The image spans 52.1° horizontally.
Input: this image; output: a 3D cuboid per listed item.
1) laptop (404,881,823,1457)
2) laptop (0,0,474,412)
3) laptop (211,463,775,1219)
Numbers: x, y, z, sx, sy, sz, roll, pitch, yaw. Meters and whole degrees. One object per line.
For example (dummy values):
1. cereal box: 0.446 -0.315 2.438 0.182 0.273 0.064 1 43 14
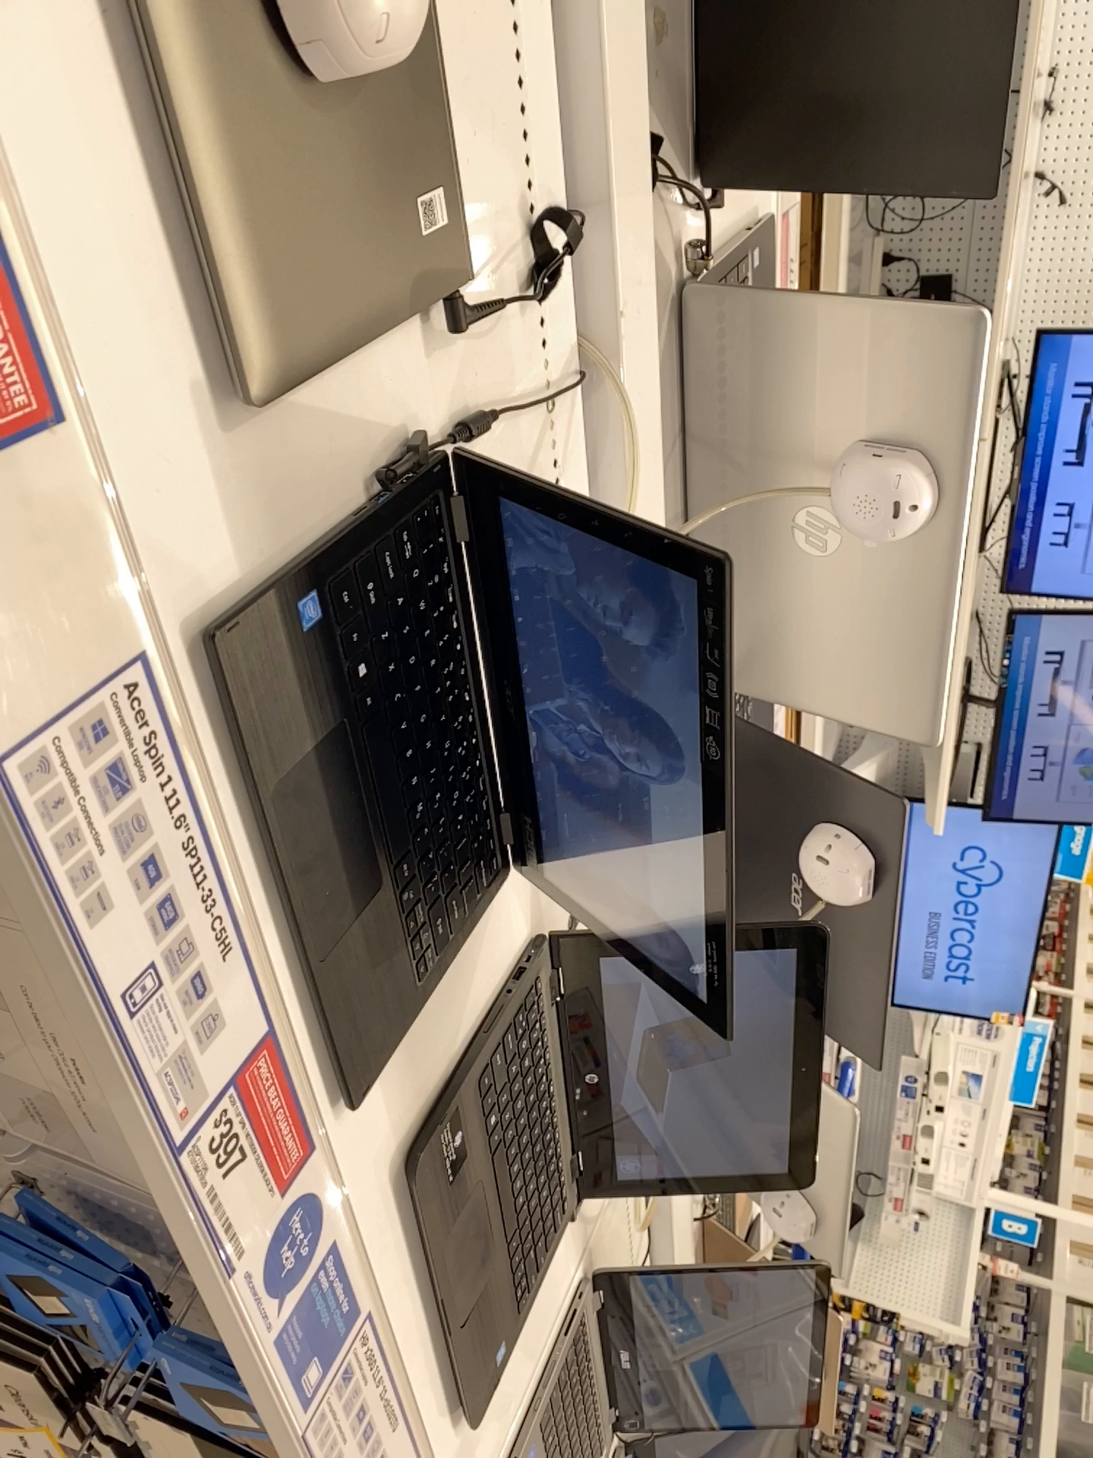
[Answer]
1. laptop: 0.079 0.342 0.851 0.297 0.190 0.324 -53 145 -48
2. laptop: -0.094 -0.302 0.438 0.195 0.001 0.285 -53 142 -48
3. laptop: 0.000 0.046 0.560 0.197 0.175 0.291 -52 144 -49
